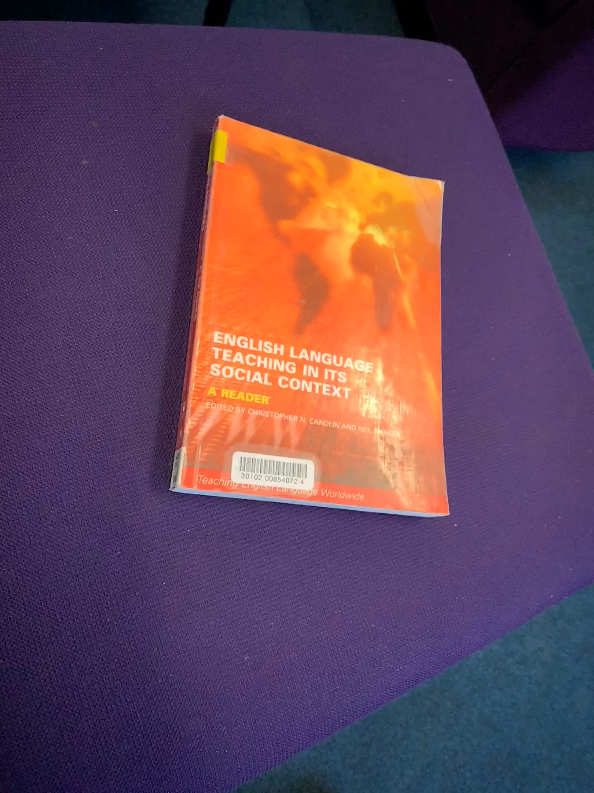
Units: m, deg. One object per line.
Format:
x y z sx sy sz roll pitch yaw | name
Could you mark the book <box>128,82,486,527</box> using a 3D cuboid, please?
0.016 -0.057 0.422 0.220 0.050 0.271 9 70 -21 | book
